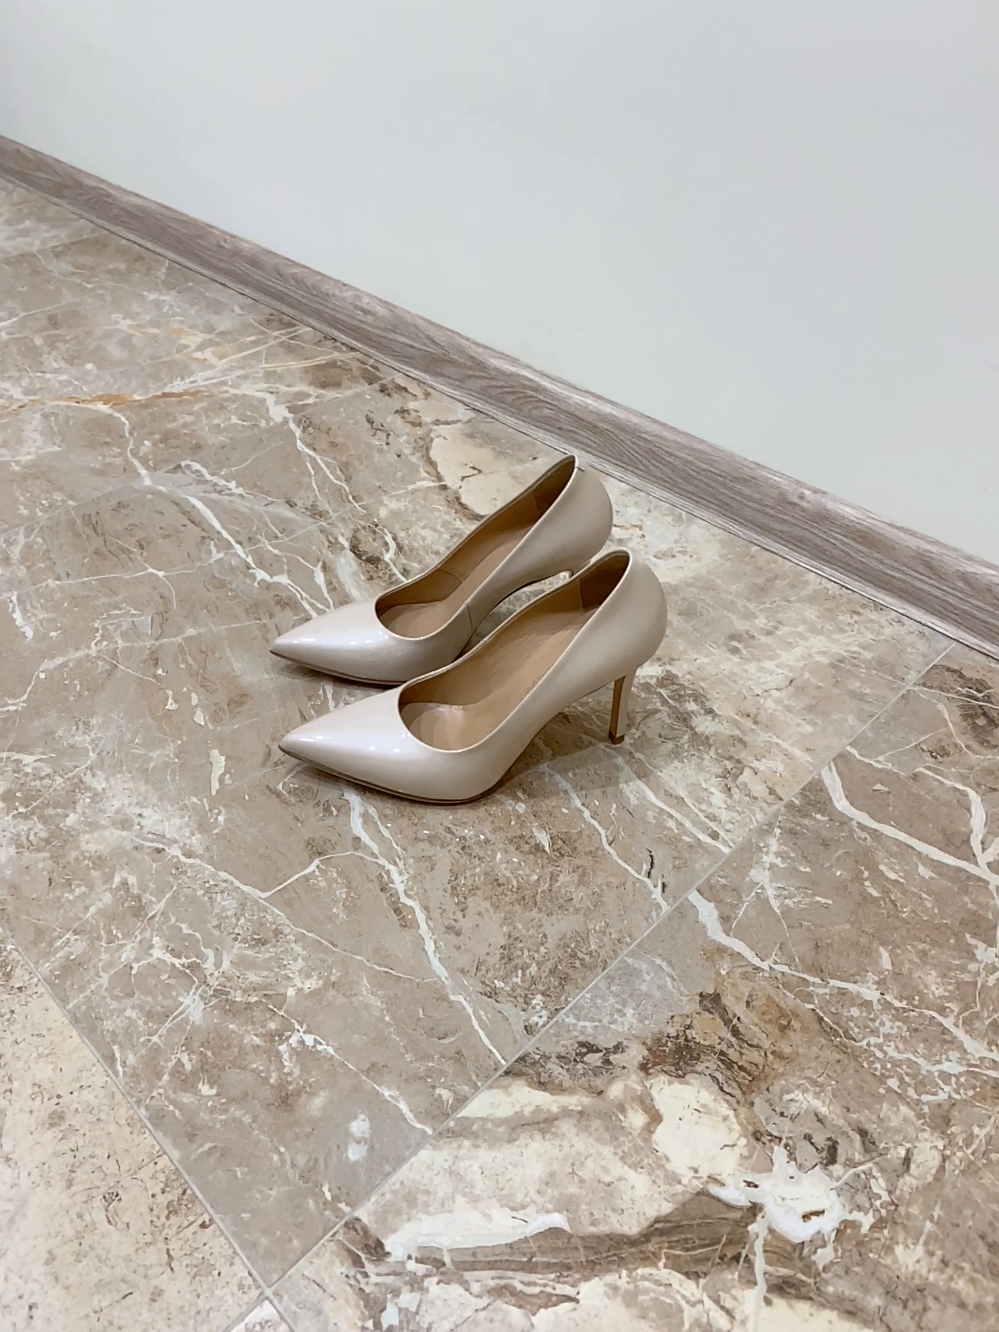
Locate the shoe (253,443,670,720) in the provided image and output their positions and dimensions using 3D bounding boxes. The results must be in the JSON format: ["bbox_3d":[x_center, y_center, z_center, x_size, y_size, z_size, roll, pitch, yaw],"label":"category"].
[{"bbox_3d":[-0.026,-0.056,0.659,0.240,0.119,0.091,-8,42,-9],"label":"shoe"}]

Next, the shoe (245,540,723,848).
[{"bbox_3d":[-0.012,0.014,0.578,0.240,0.109,0.091,-8,42,-9],"label":"shoe"}]
